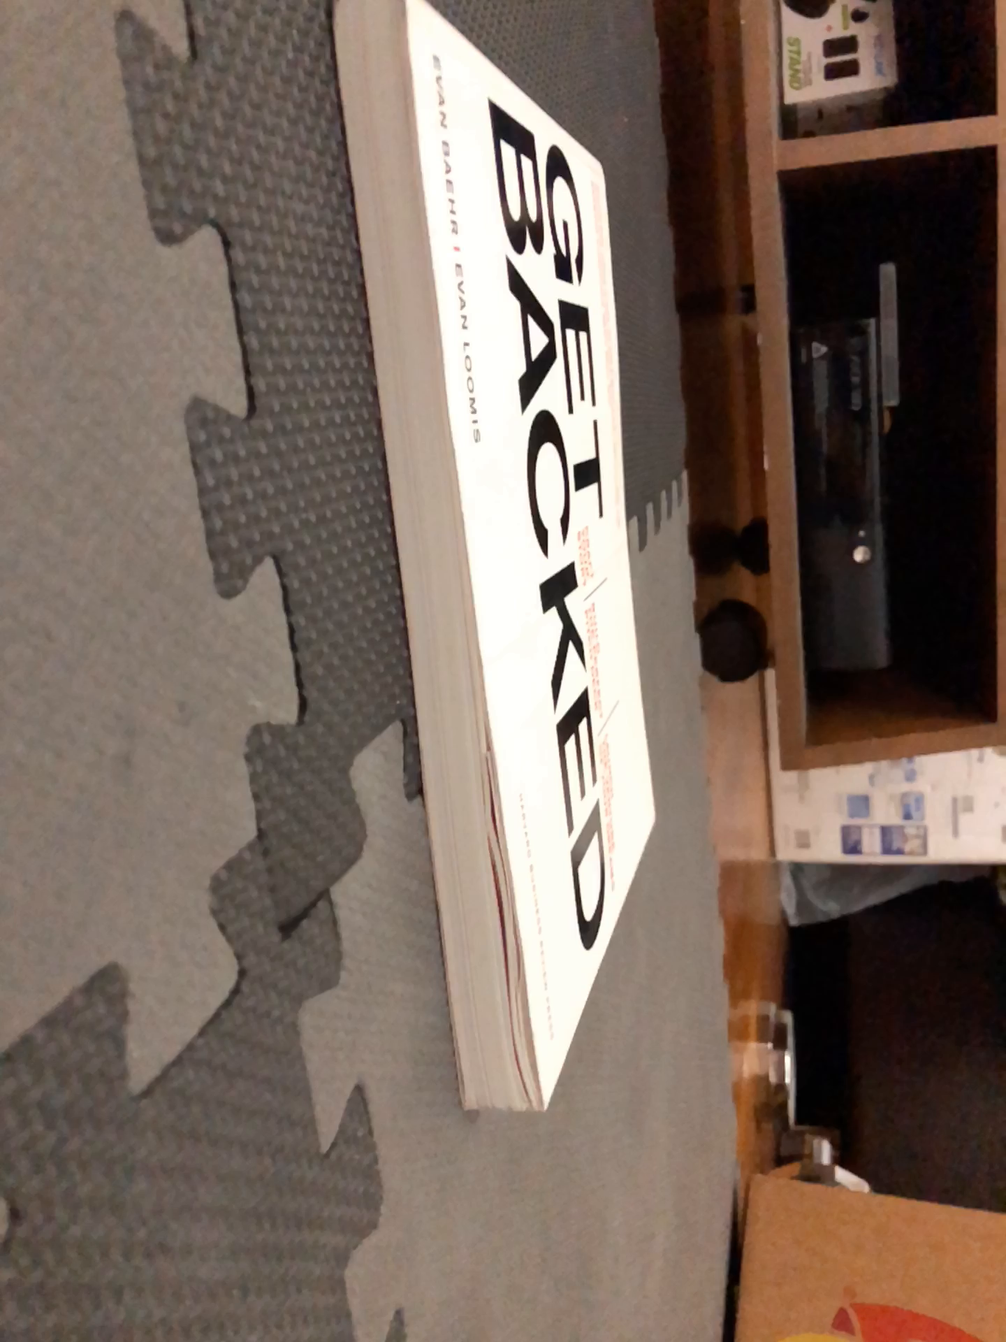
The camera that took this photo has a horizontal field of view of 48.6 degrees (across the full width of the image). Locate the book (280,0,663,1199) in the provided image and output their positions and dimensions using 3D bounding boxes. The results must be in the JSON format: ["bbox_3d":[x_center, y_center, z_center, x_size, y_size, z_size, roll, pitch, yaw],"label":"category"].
[{"bbox_3d":[0.012,-0.029,0.329,0.211,0.020,0.260,-40,126,-68],"label":"book"}]
